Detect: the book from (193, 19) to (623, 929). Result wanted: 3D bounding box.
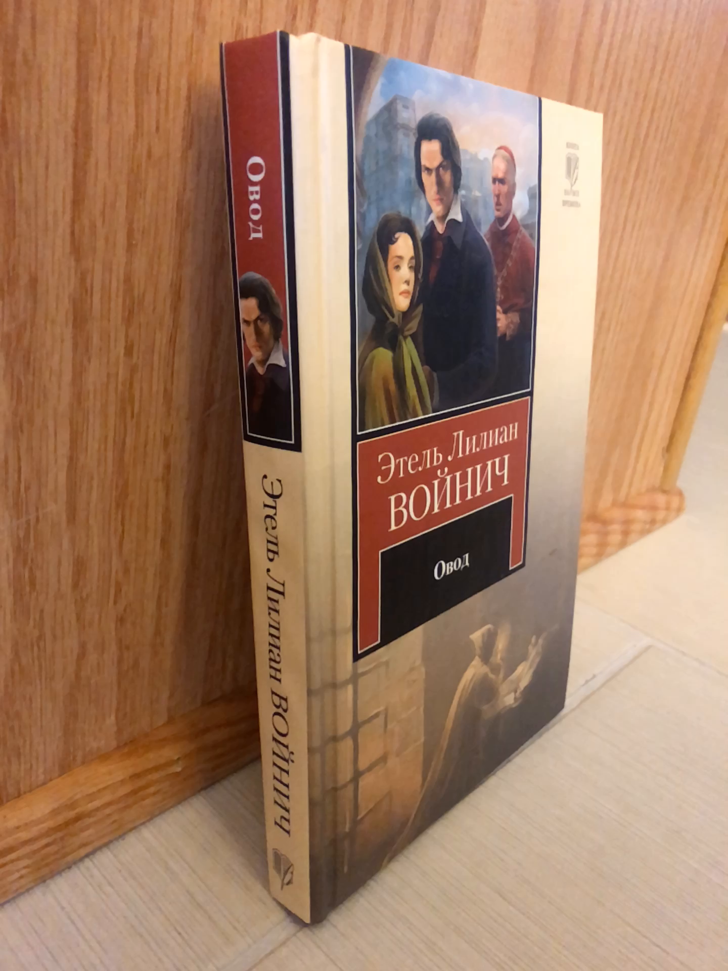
[{"bbox_3d":[0.023,-0.005,0.236,0.030,0.203,0.140,12,20,40],"label":"book"}]
